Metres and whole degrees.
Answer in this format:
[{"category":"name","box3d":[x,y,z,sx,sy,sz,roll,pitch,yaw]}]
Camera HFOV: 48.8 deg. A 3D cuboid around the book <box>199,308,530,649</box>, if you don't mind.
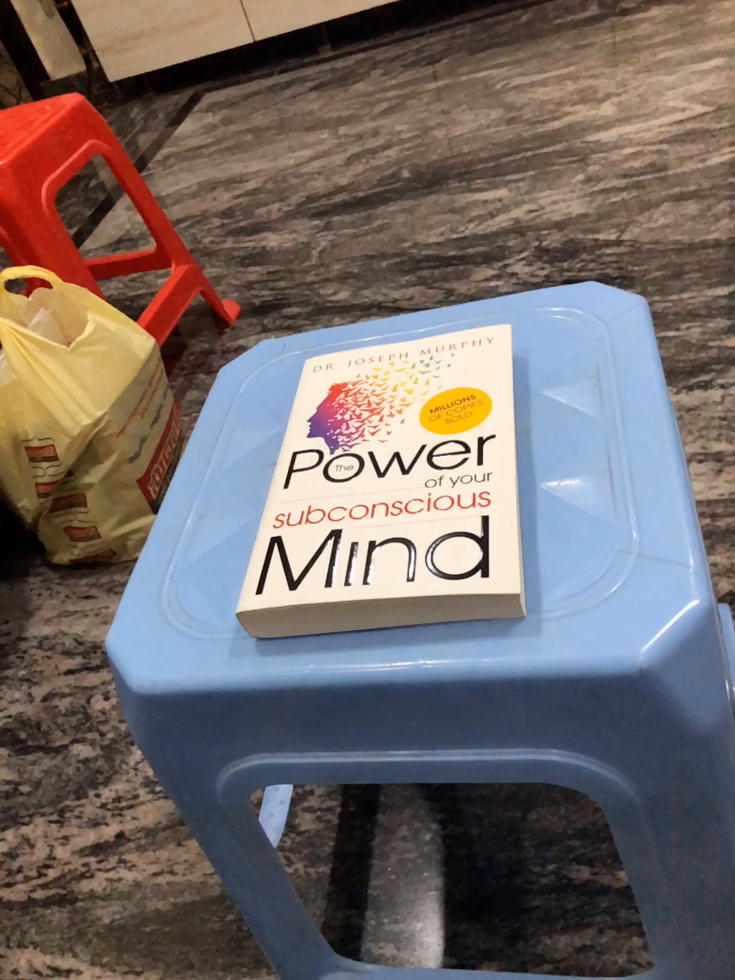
[{"category":"book","box3d":[0.006,-0.015,0.420,0.140,0.030,0.201,-8,42,15]}]
